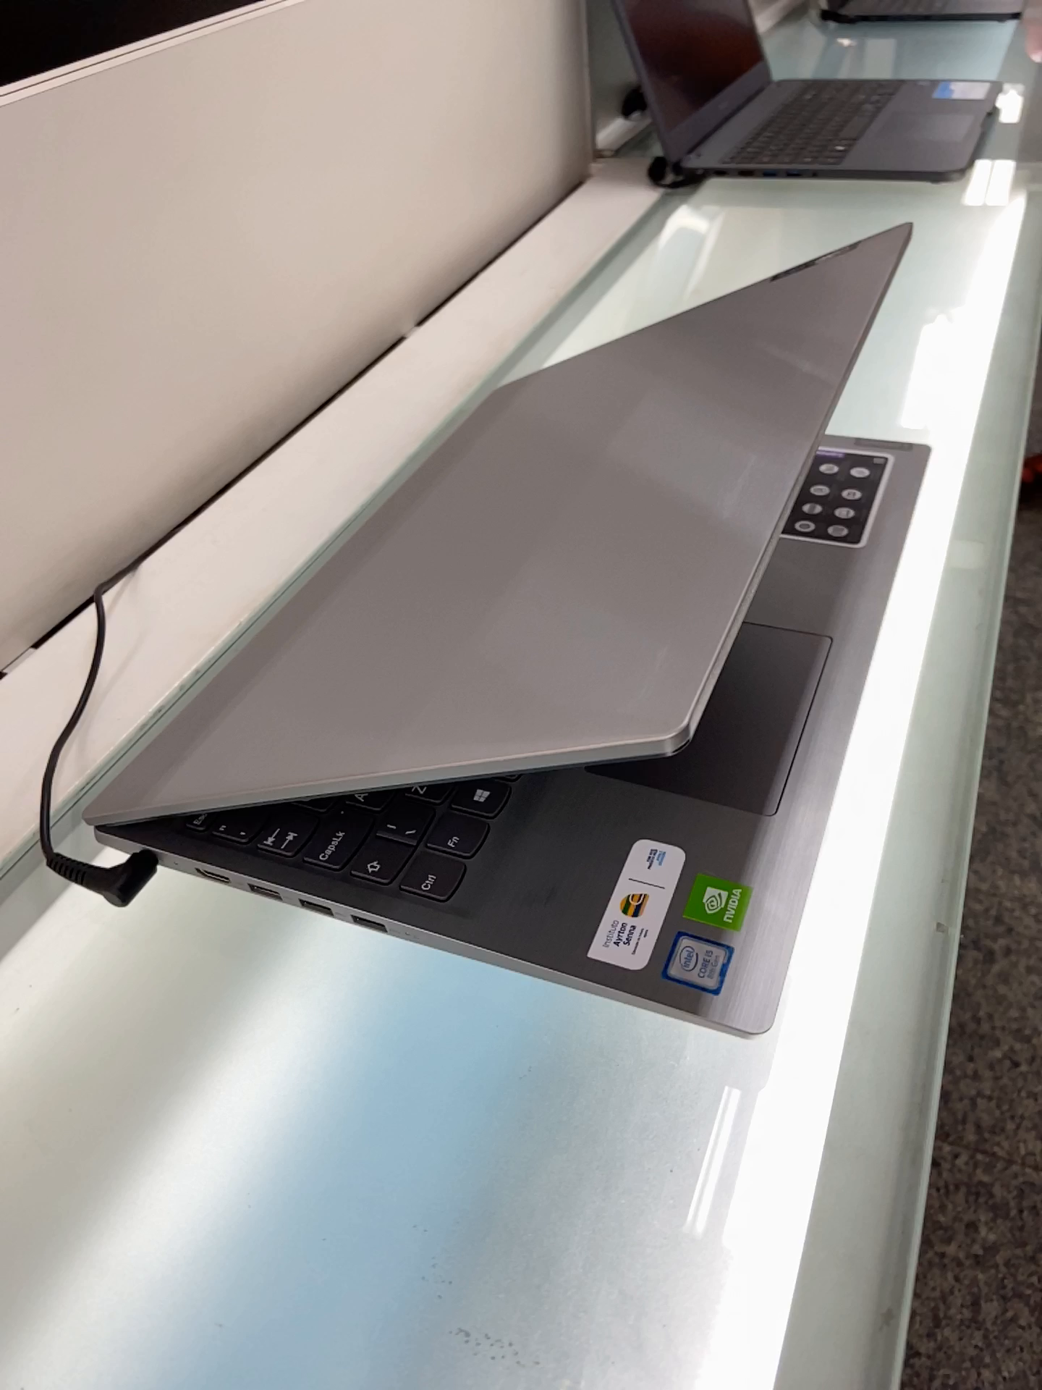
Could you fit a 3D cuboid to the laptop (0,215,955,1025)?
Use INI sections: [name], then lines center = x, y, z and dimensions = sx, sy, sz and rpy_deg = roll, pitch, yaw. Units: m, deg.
[laptop]
center = 0.019, -0.079, 0.433
dimensions = 0.239, 0.104, 0.355
rpy_deg = 12, 43, 20
